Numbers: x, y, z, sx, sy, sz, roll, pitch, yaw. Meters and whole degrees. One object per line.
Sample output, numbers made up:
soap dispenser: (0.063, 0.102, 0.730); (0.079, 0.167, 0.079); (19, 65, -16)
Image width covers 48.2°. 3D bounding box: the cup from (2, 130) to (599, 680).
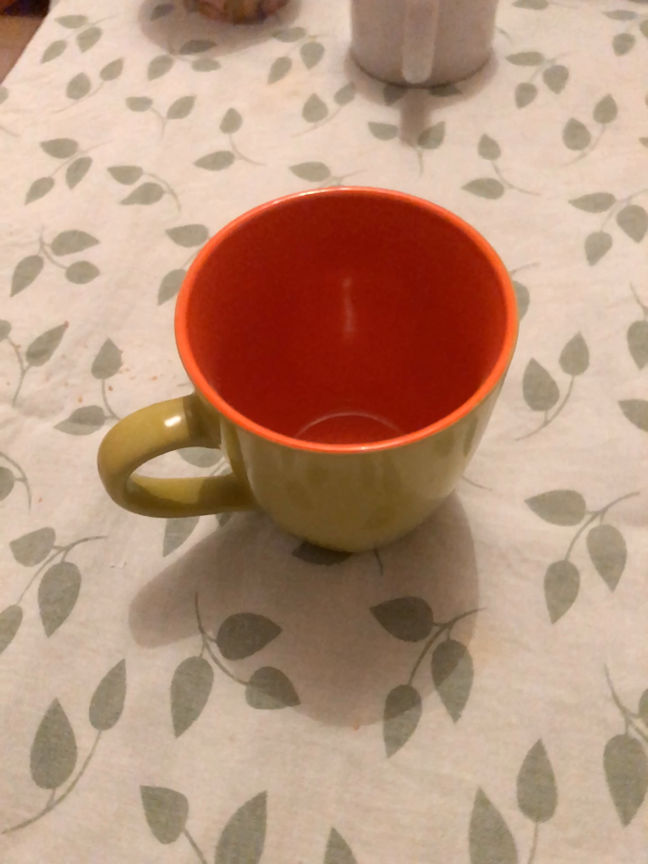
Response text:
cup: (-0.007, -0.007, 0.218); (0.120, 0.090, 0.090); (-27, 62, -14)
